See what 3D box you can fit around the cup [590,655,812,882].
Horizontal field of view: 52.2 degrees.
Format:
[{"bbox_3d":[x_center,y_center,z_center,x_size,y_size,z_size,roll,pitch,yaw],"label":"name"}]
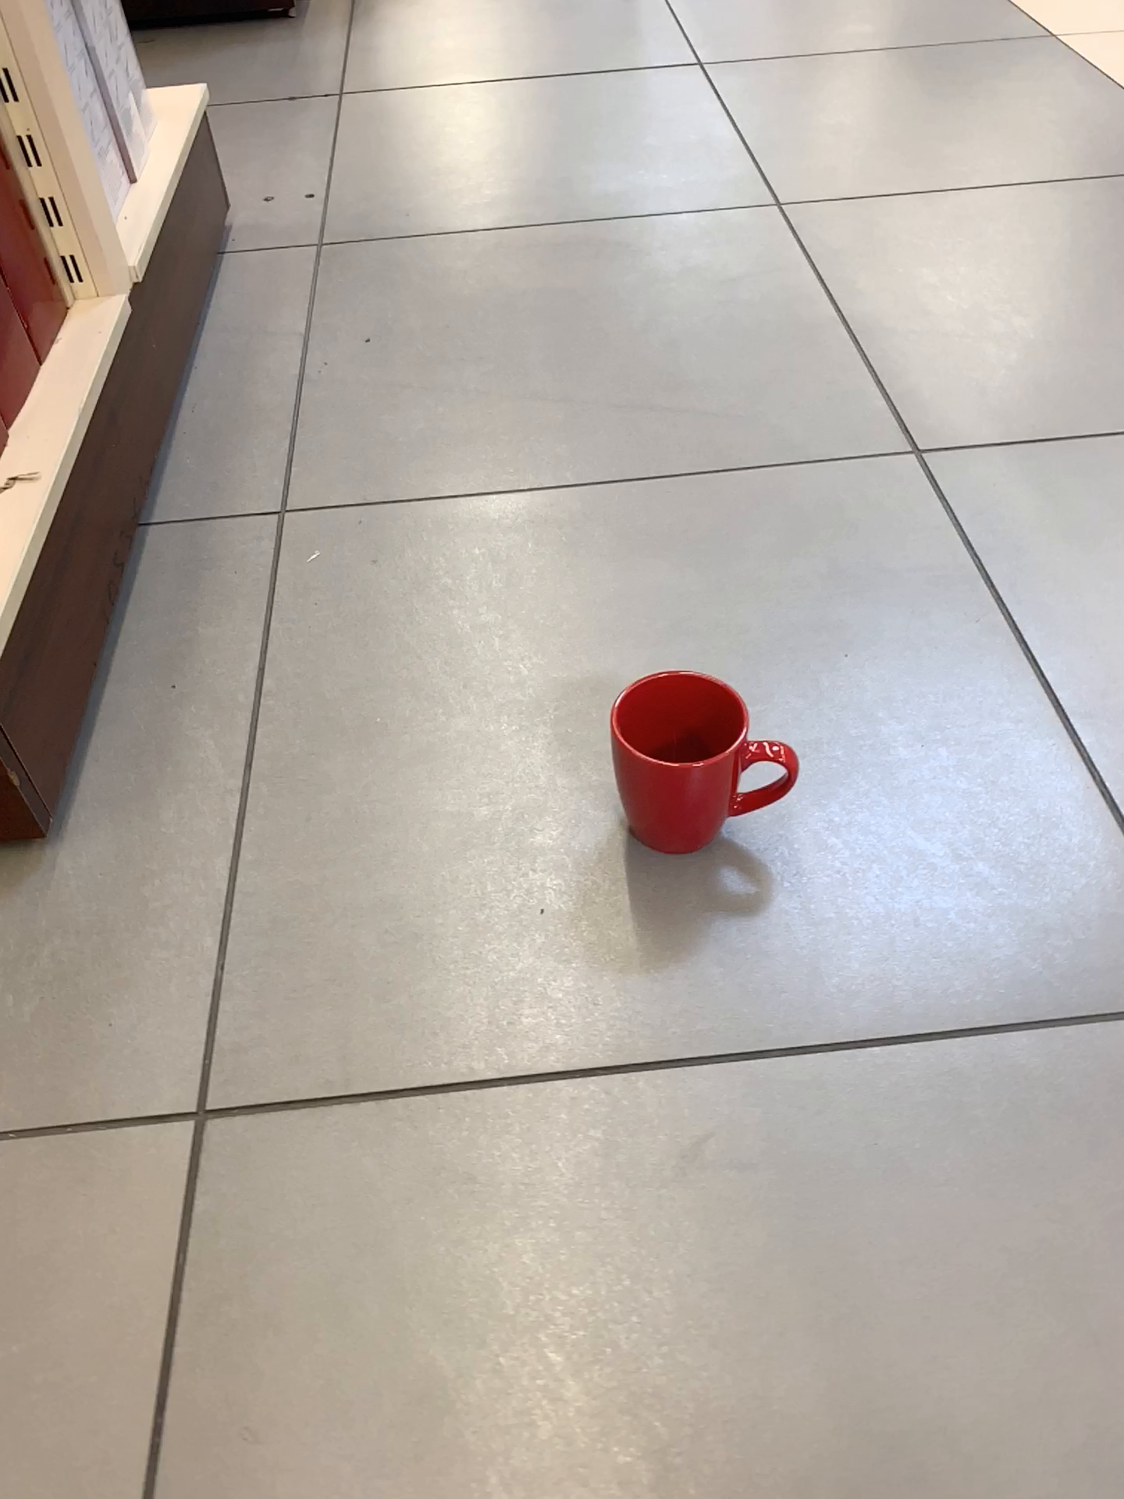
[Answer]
[{"bbox_3d":[0.088,0.011,0.732,0.120,0.090,0.090,9,47,13],"label":"cup"}]
